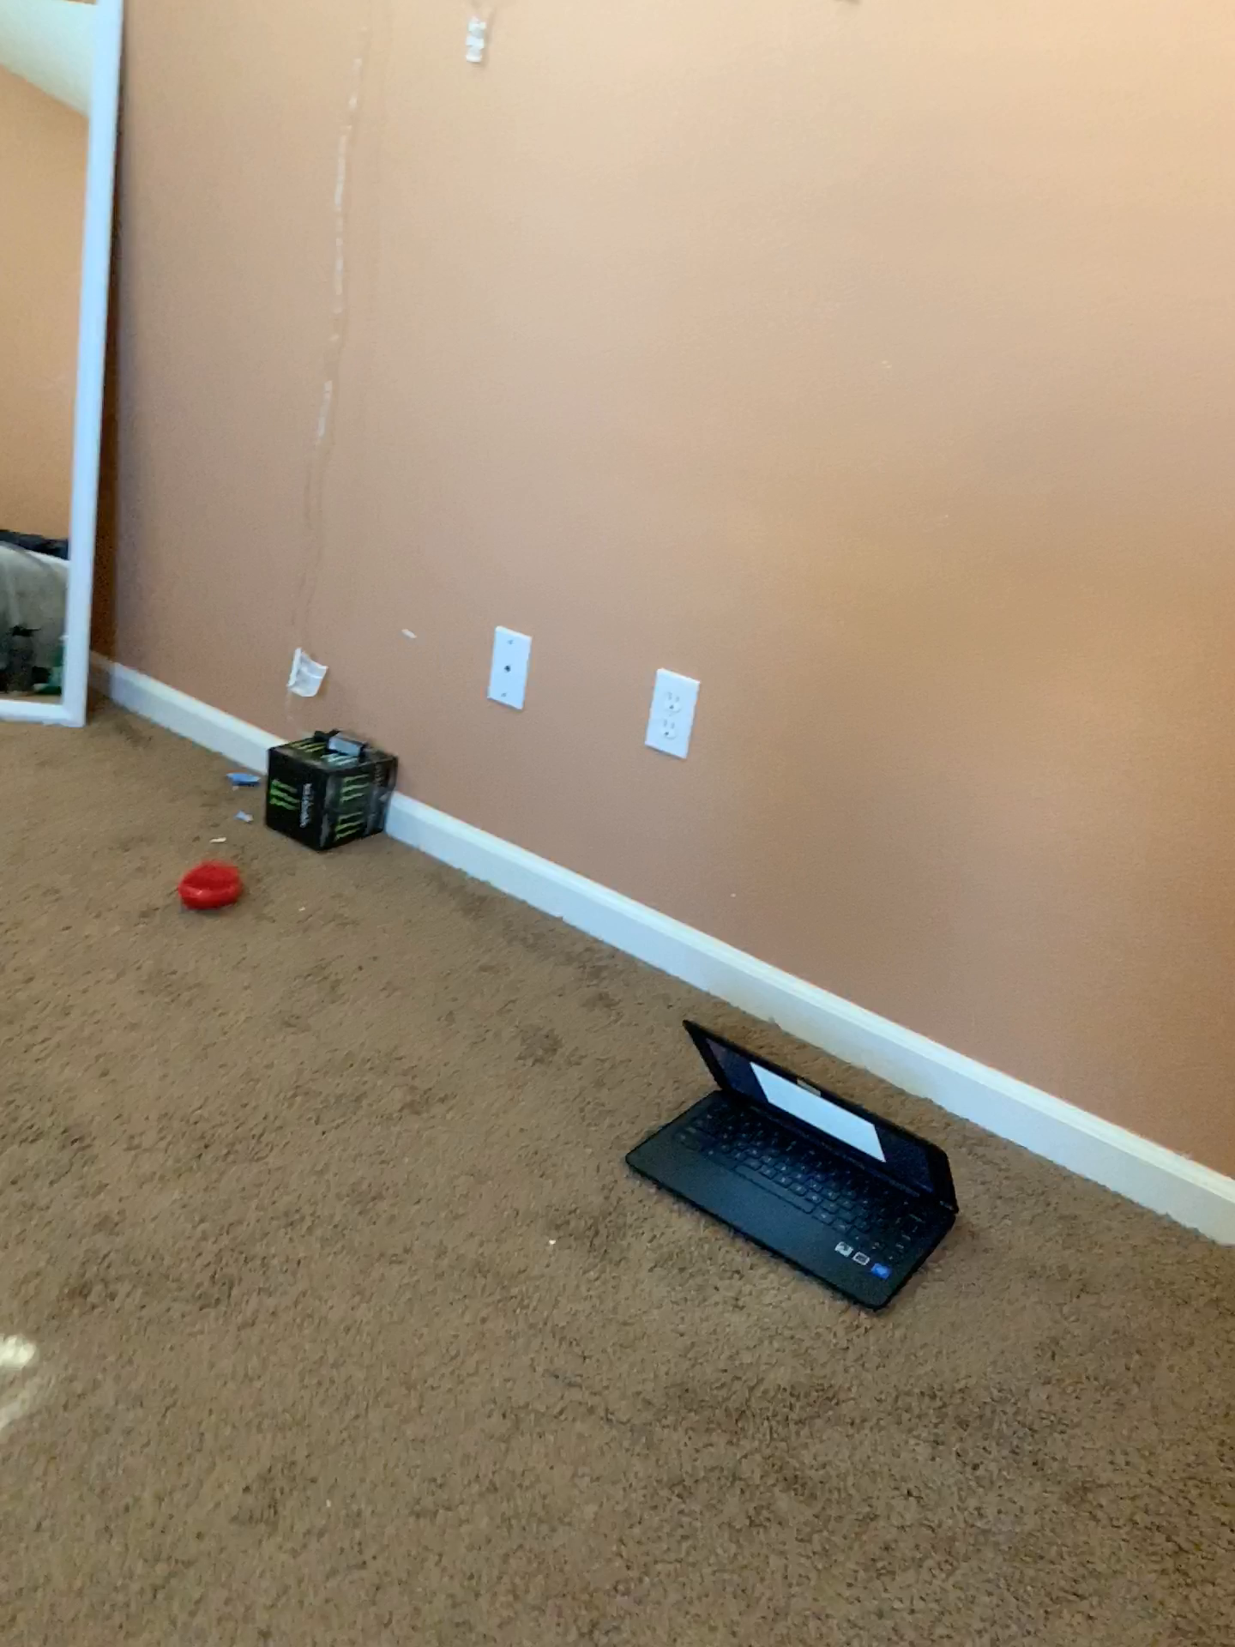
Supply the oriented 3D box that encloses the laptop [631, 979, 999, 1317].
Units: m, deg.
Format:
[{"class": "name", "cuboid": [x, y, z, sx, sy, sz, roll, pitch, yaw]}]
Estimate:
[{"class": "laptop", "cuboid": [0.196, 0.310, 1.268, 0.292, 0.140, 0.192, 23, 25, 30]}]
